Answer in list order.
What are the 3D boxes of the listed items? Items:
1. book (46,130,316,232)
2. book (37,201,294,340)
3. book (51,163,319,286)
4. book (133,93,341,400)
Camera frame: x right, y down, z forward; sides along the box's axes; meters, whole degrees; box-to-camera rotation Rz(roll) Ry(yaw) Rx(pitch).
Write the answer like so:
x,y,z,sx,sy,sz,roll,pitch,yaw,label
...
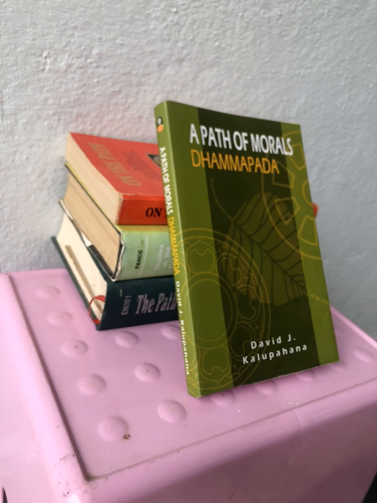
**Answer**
x,y,z,sx,sy,sz,roll,pitch,yaw,label
-0.010,-0.071,0.411,0.211,0.030,0.160,-4,31,-32,book
-0.029,0.004,0.433,0.211,0.050,0.160,-3,30,-31,book
-0.007,-0.036,0.418,0.211,0.040,0.160,-3,30,-32,book
0.042,-0.007,0.343,0.151,0.210,0.040,-1,-10,-33,book
